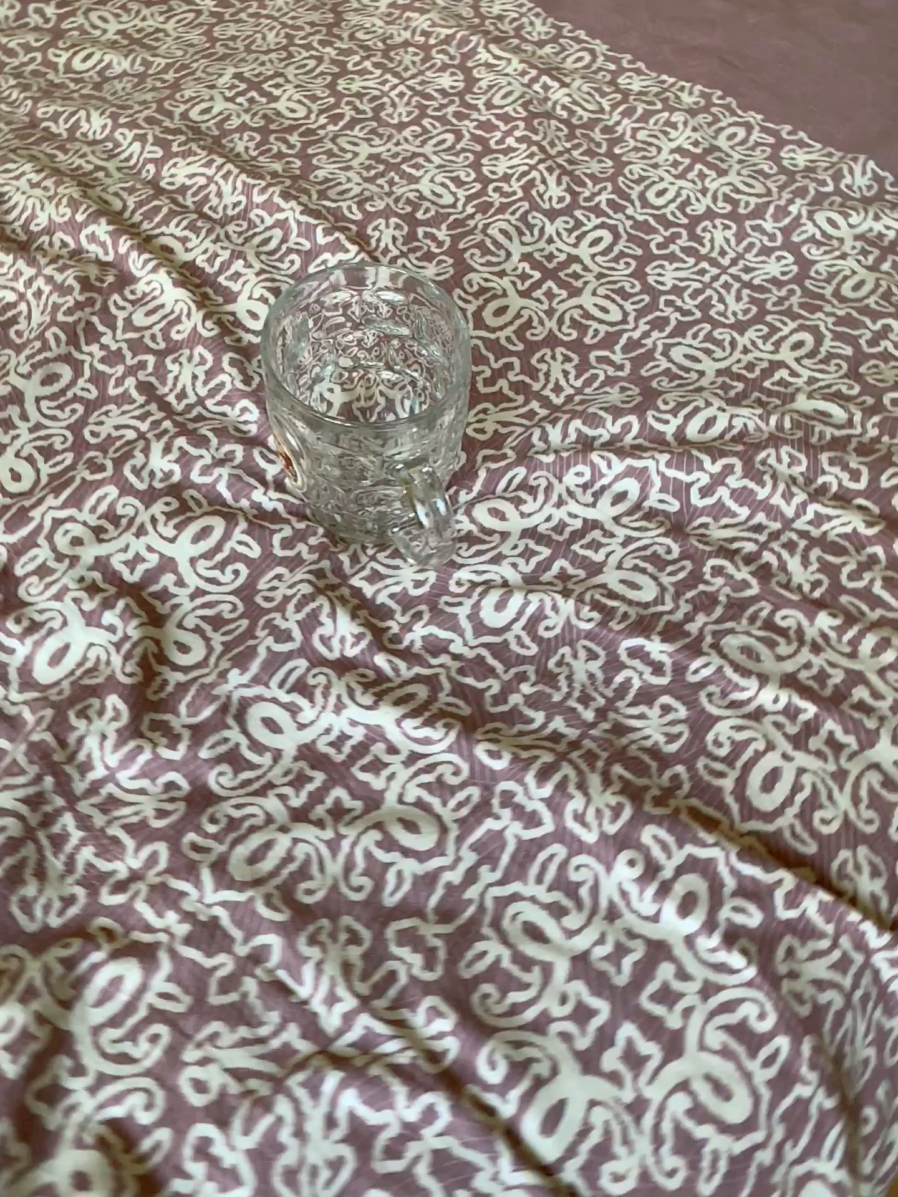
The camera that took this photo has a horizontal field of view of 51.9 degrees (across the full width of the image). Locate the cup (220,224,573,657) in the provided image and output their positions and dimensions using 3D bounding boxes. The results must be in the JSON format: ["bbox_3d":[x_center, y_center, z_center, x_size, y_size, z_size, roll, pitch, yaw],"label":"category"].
[{"bbox_3d":[-0.024,-0.070,0.410,0.090,0.109,0.131,-25,60,-15],"label":"cup"}]
